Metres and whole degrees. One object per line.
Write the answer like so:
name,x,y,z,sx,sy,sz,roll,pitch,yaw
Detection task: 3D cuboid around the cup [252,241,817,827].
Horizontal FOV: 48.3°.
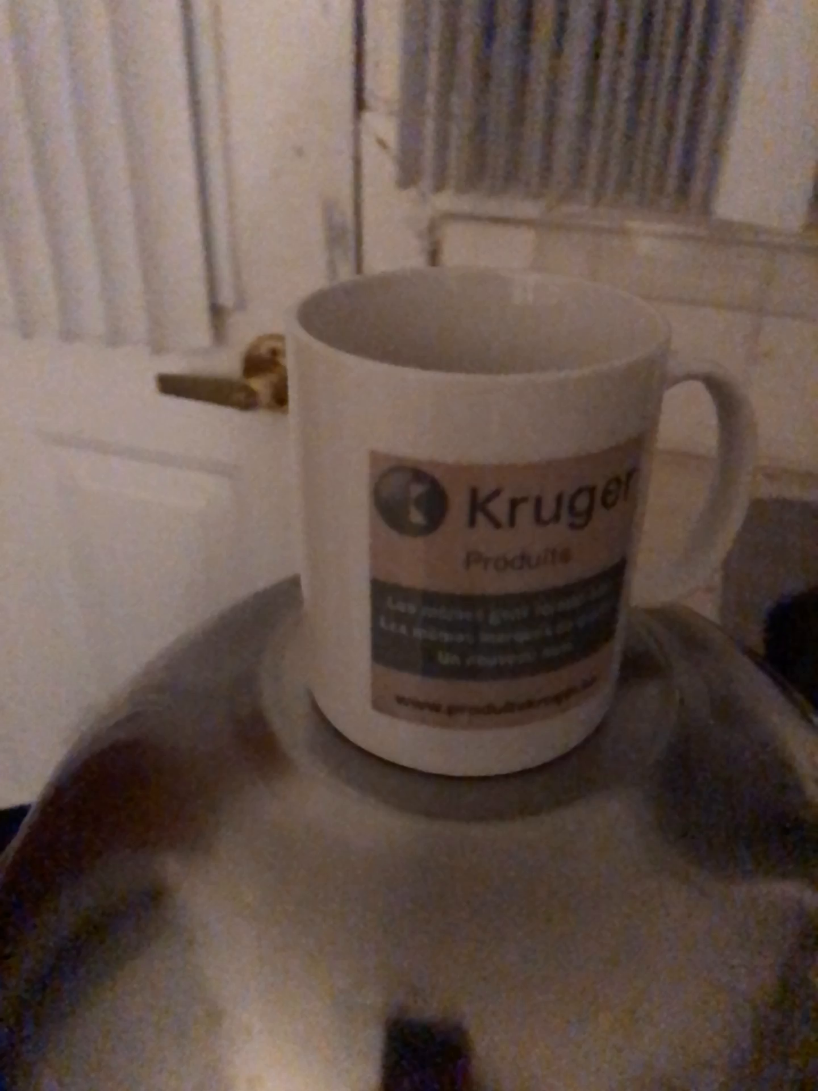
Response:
cup,0.026,-0.010,0.232,0.120,0.109,0.091,-5,31,-10
